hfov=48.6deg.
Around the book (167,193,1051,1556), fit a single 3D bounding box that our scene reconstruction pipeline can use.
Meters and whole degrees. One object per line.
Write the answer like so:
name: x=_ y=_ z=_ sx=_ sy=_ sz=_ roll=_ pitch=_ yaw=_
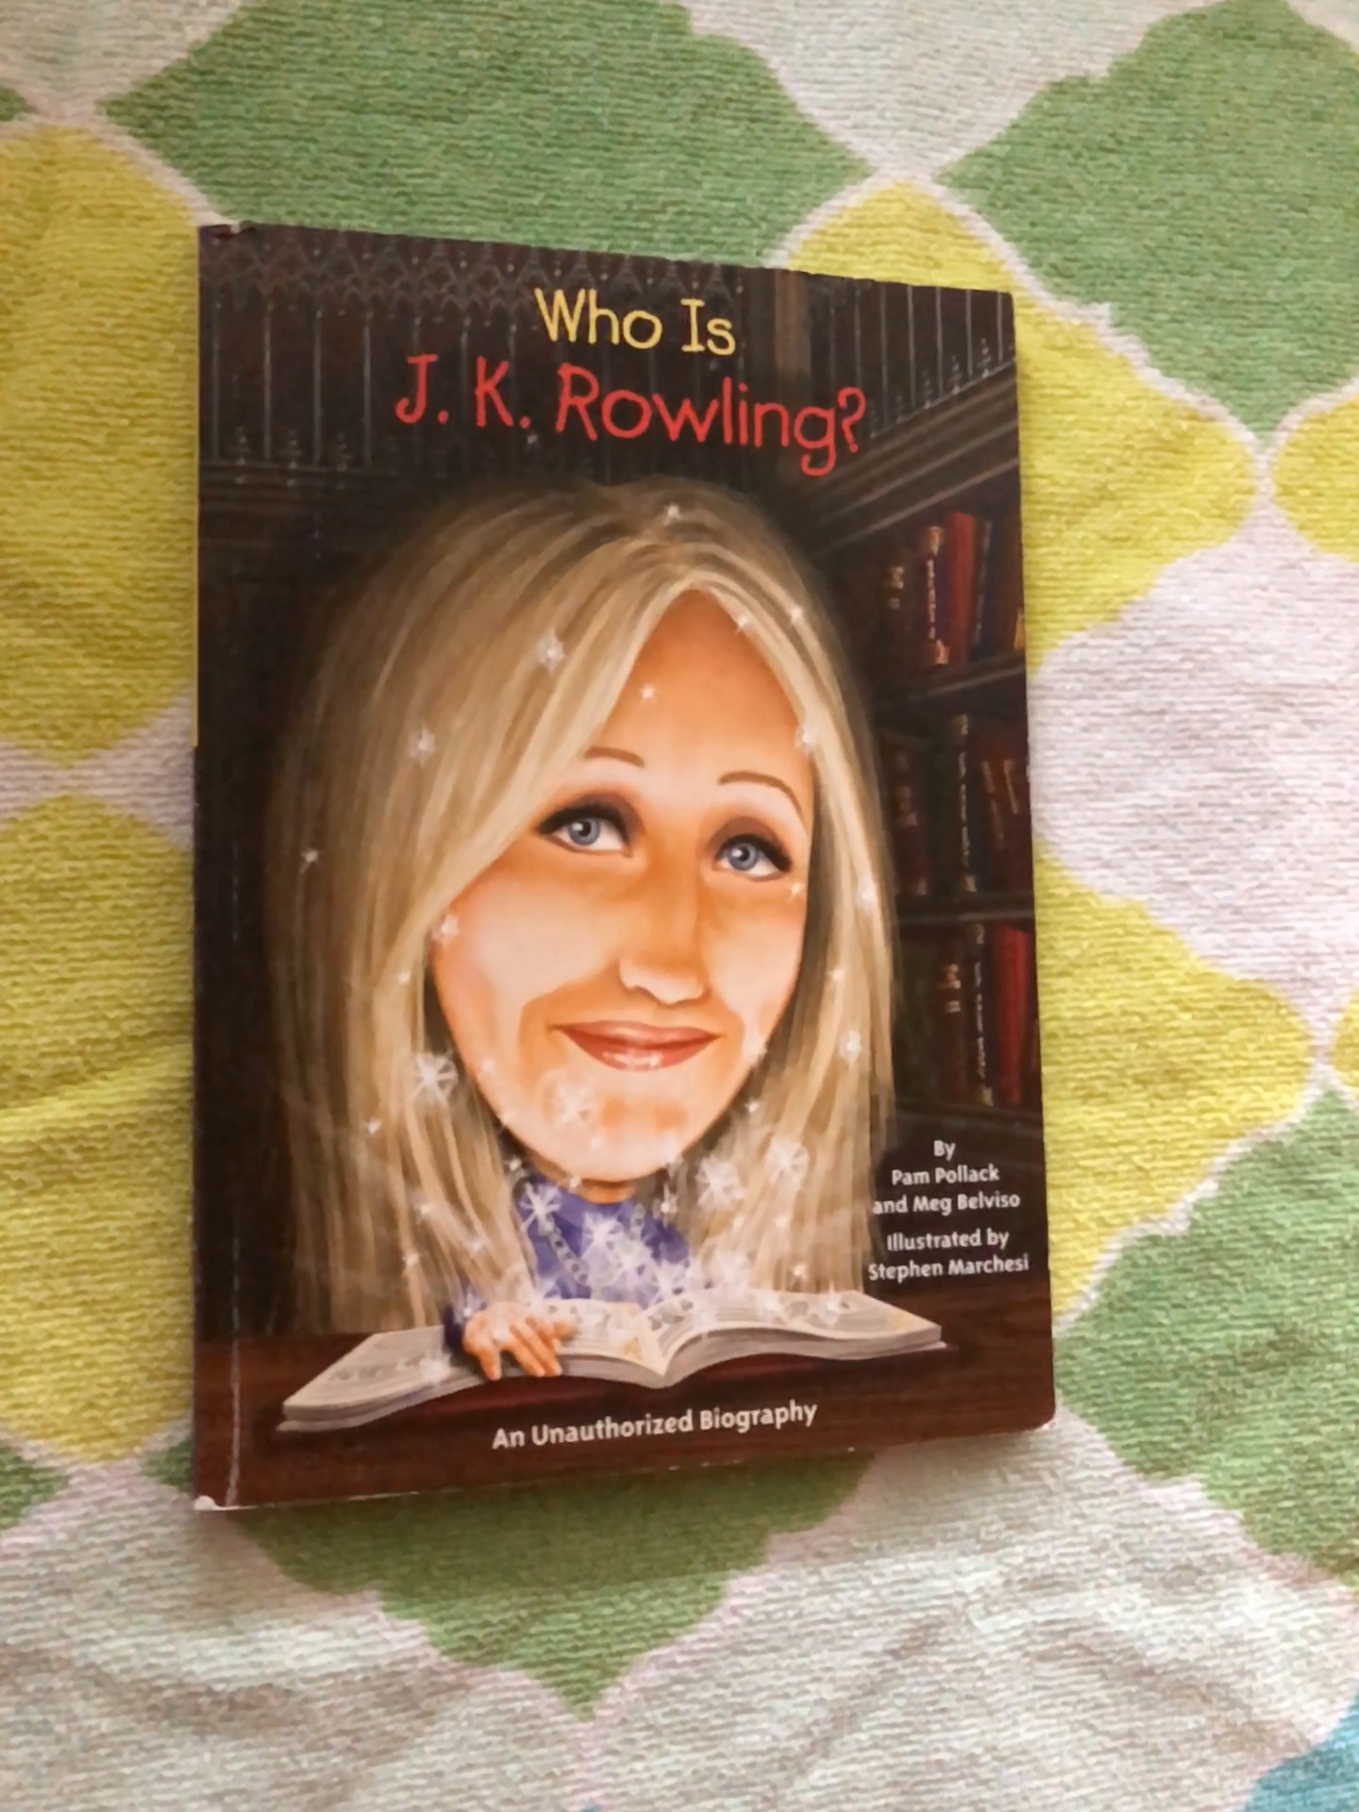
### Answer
book: x=-0.009 y=-0.007 z=0.225 sx=0.126 sy=0.012 sz=0.187 roll=0 pitch=85 yaw=-12
